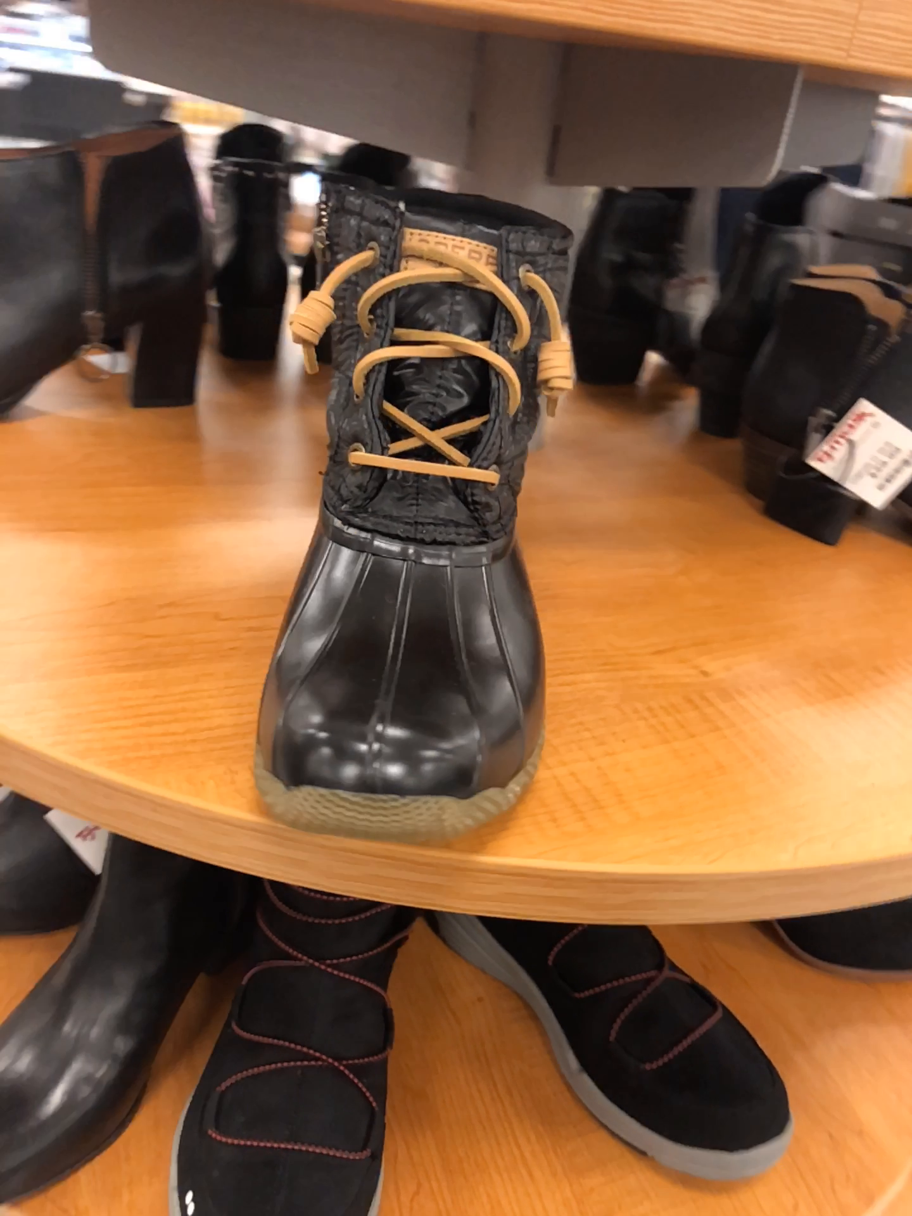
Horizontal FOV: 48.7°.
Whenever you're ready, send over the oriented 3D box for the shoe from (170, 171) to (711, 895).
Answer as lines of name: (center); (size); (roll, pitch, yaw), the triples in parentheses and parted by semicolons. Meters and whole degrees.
shoe: (-0.003, -0.050, 0.346); (0.112, 0.156, 0.232); (6, 28, 1)
